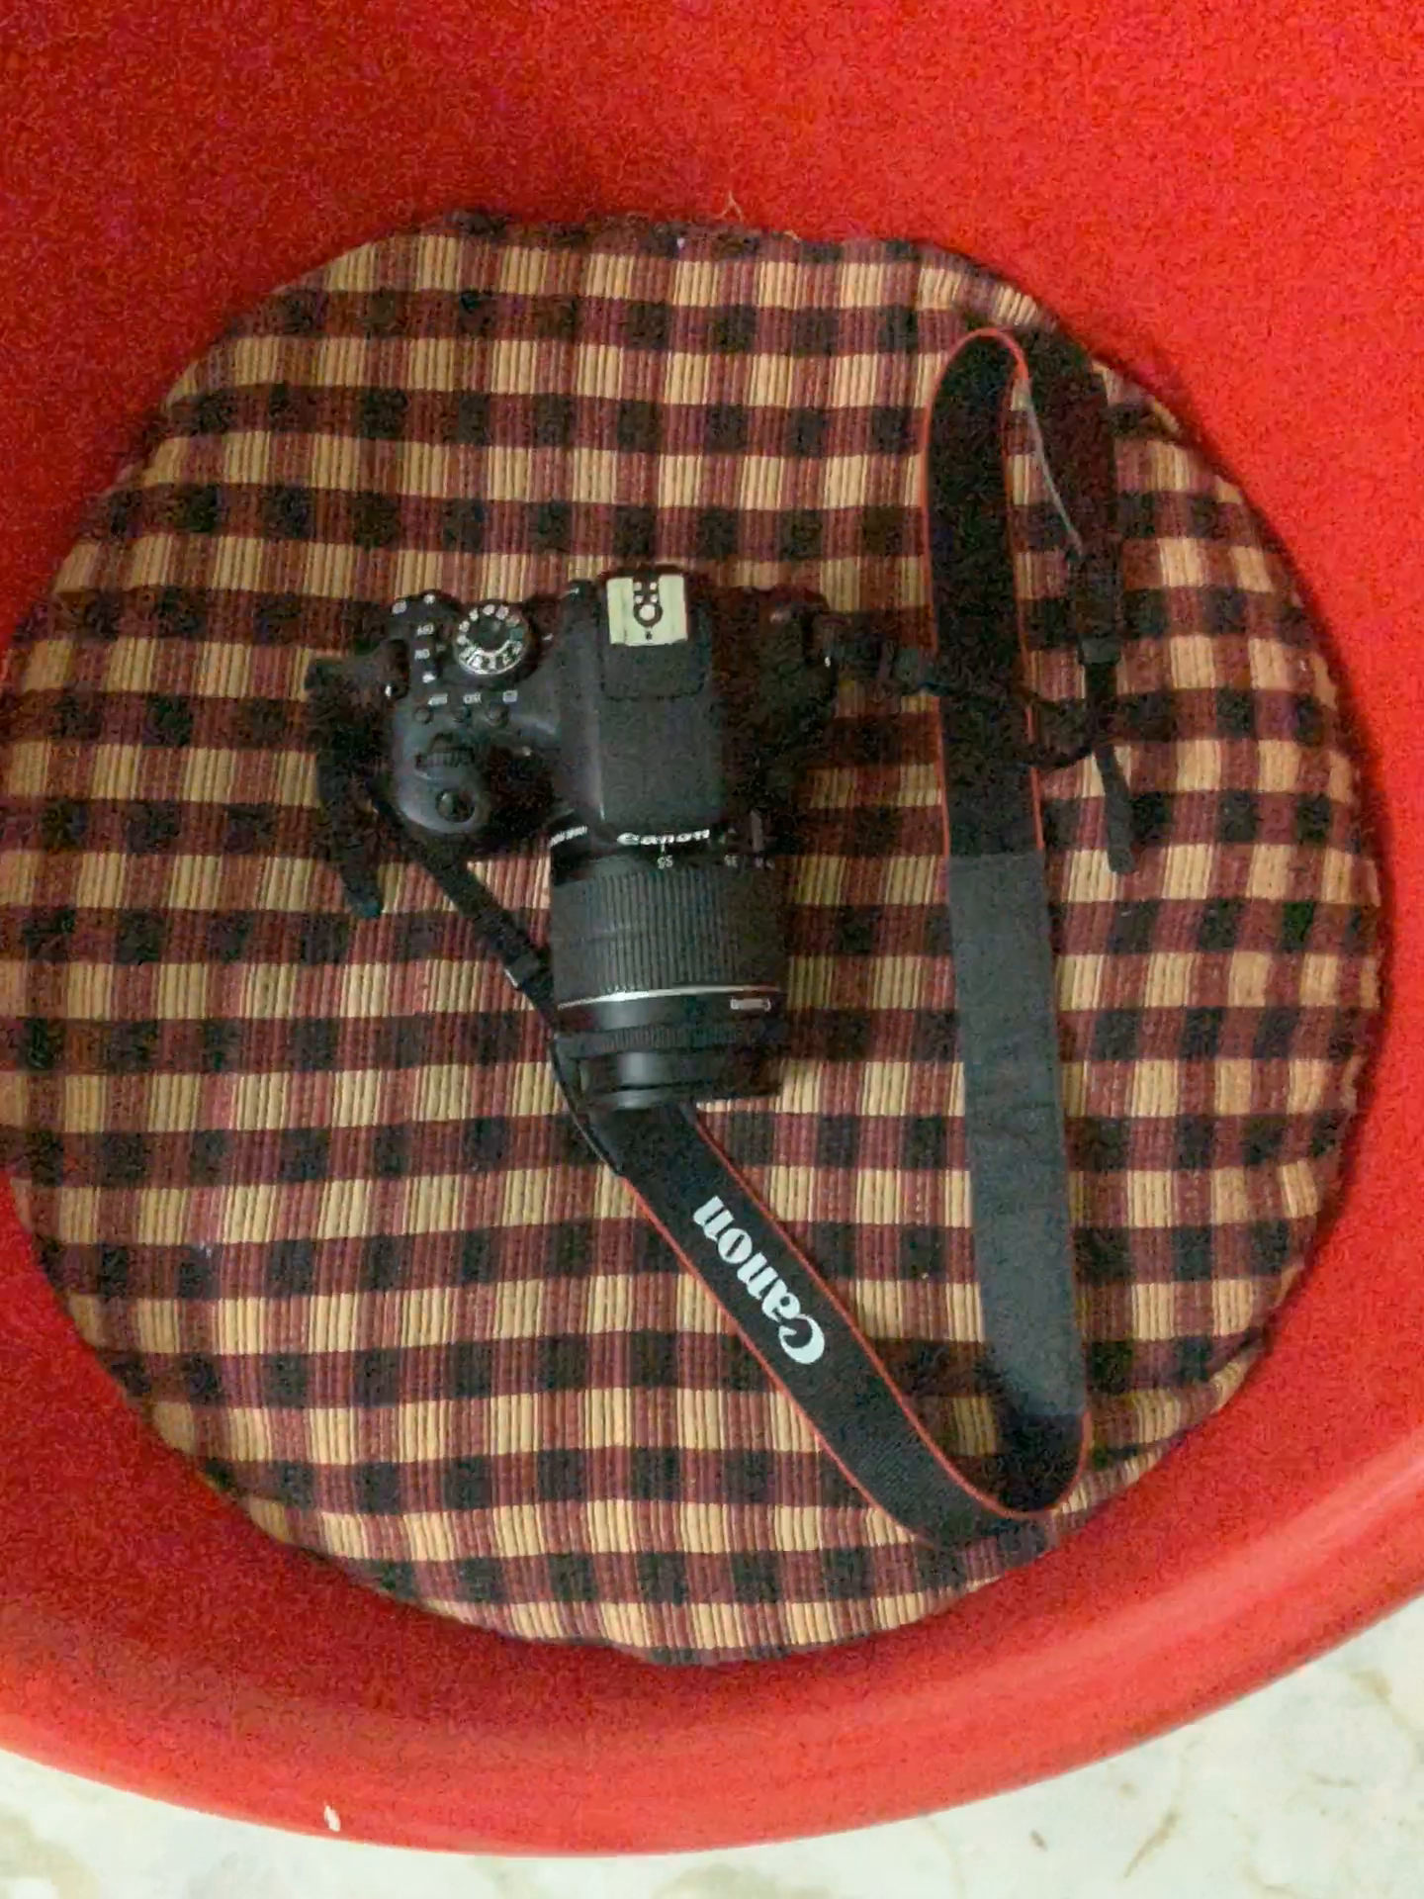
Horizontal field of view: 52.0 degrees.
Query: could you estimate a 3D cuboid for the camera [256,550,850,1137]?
[{"bbox_3d":[-0.040,-0.024,0.420,0.140,0.130,0.138,-2,88,-1],"label":"camera"}]
